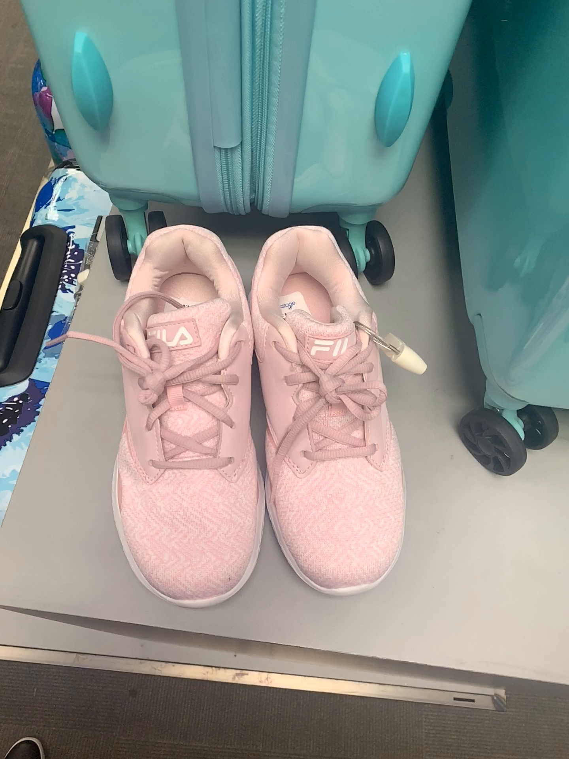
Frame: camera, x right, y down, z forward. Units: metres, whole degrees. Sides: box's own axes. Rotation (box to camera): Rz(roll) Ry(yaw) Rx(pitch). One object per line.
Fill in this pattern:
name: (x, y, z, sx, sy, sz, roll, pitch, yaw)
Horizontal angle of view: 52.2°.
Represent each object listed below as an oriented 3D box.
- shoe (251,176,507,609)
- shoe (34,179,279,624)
shoe: (0.039, 0.003, 0.369, 0.107, 0.104, 0.251, -2, 64, -5)
shoe: (-0.068, 0.008, 0.360, 0.107, 0.104, 0.251, -2, 64, -5)
